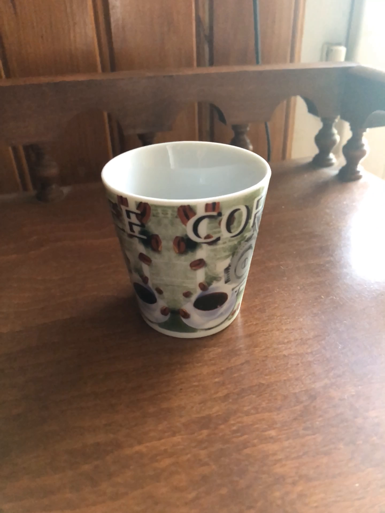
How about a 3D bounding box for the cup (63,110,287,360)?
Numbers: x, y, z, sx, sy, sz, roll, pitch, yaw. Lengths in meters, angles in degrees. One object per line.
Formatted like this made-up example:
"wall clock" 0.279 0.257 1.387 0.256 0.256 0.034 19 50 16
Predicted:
"cup" 0.002 -0.015 0.168 0.060 0.060 0.081 6 33 12
